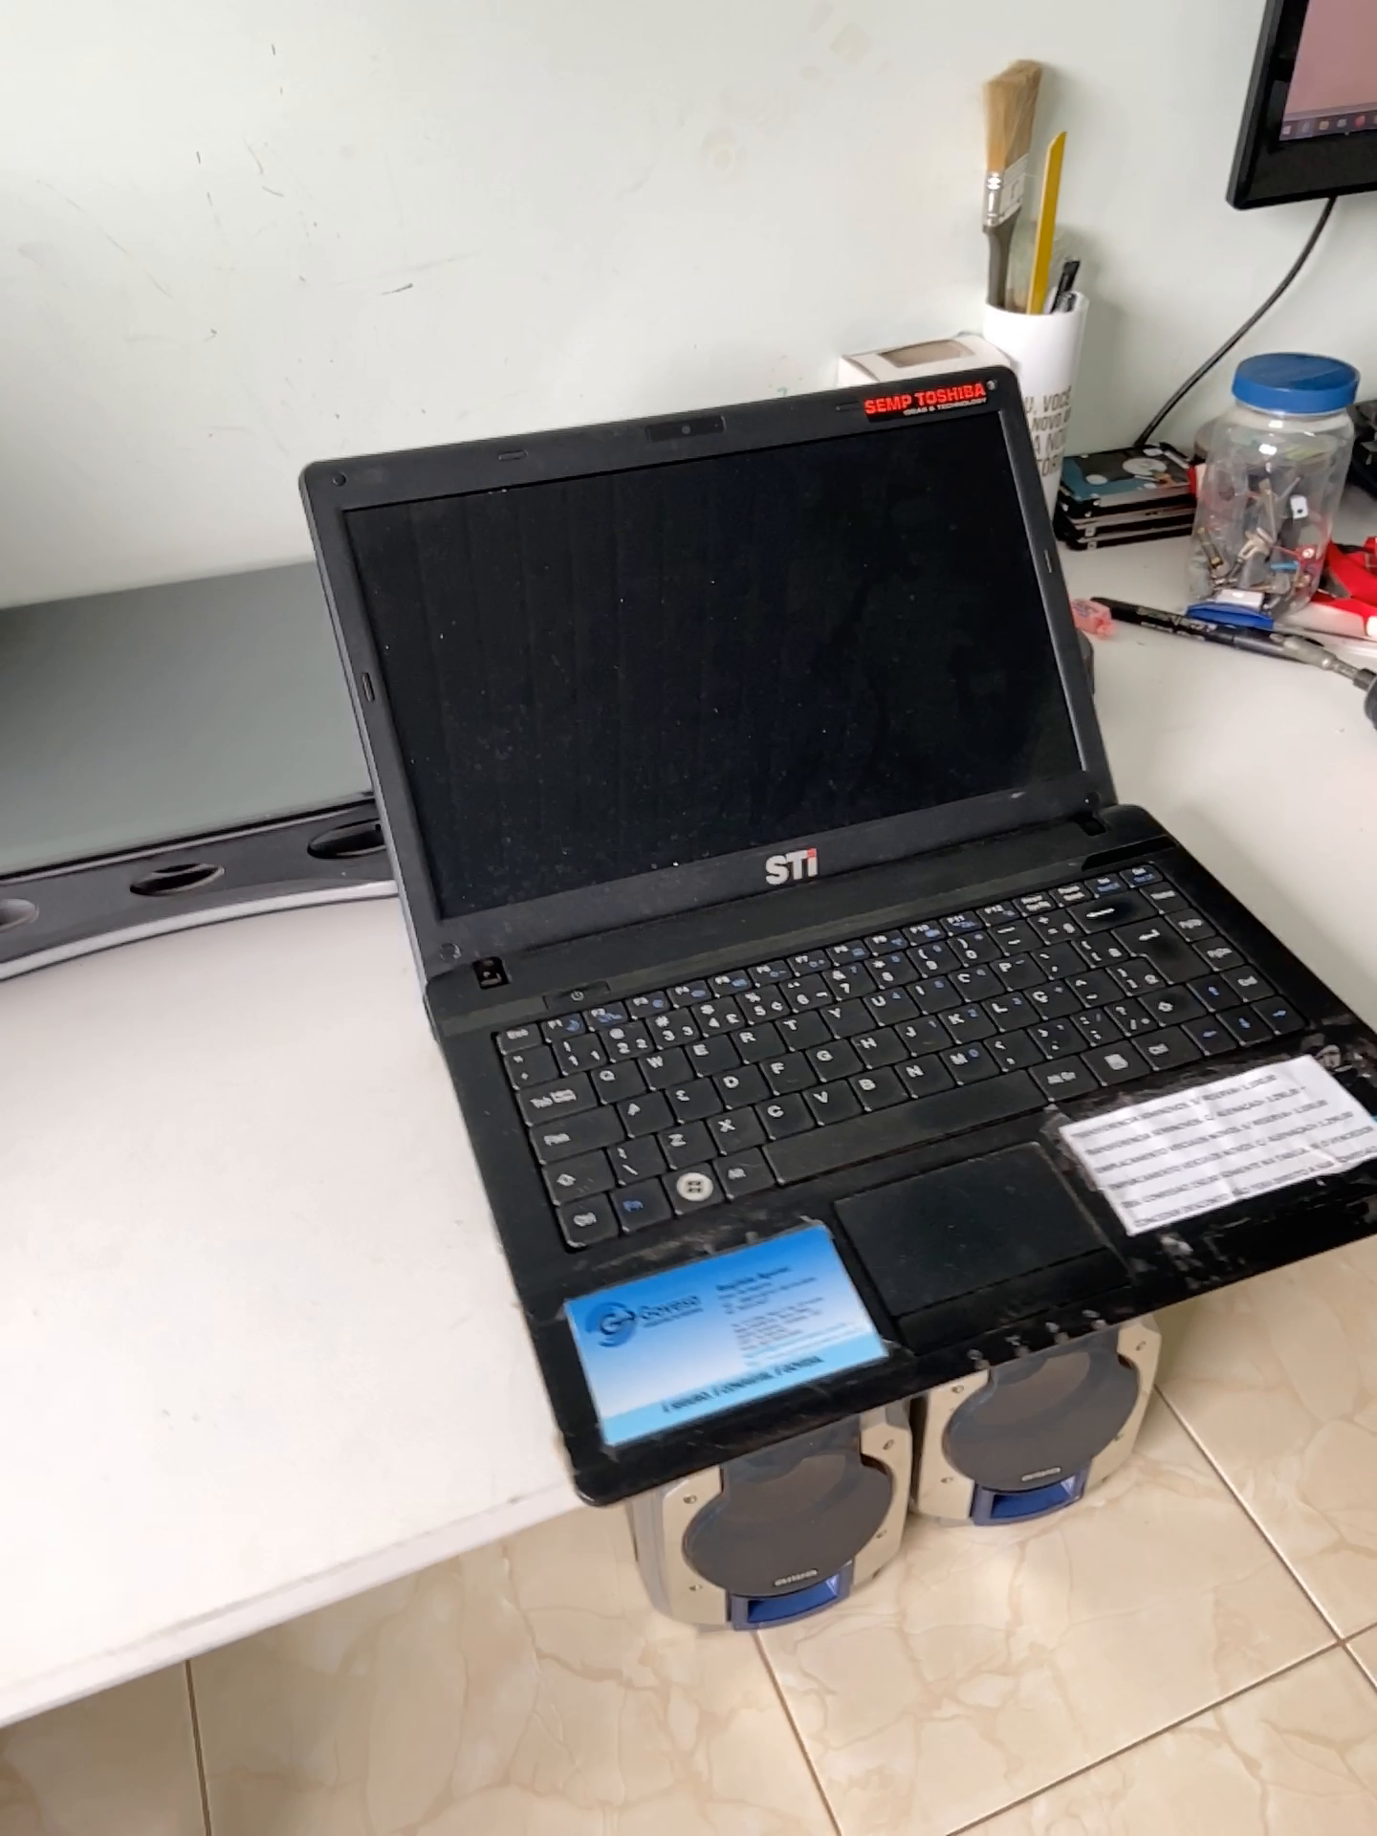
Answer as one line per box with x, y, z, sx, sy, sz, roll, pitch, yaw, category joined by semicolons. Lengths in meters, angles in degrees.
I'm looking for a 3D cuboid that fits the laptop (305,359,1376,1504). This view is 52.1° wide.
0.065;-0.049;0.537;0.335;0.159;0.386;-14;41;-14;laptop
